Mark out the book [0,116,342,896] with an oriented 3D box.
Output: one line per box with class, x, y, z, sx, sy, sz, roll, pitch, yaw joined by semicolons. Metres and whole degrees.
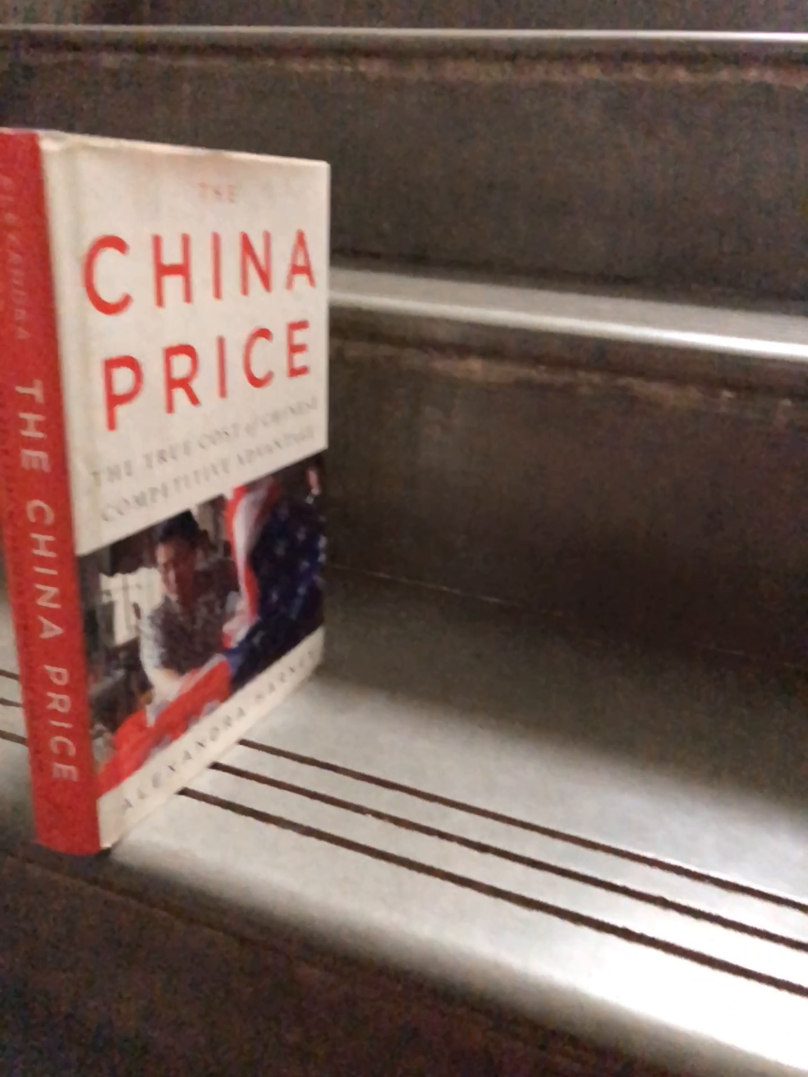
book;-0.083;-0.024;0.346;0.040;0.239;0.181;10;23;21
